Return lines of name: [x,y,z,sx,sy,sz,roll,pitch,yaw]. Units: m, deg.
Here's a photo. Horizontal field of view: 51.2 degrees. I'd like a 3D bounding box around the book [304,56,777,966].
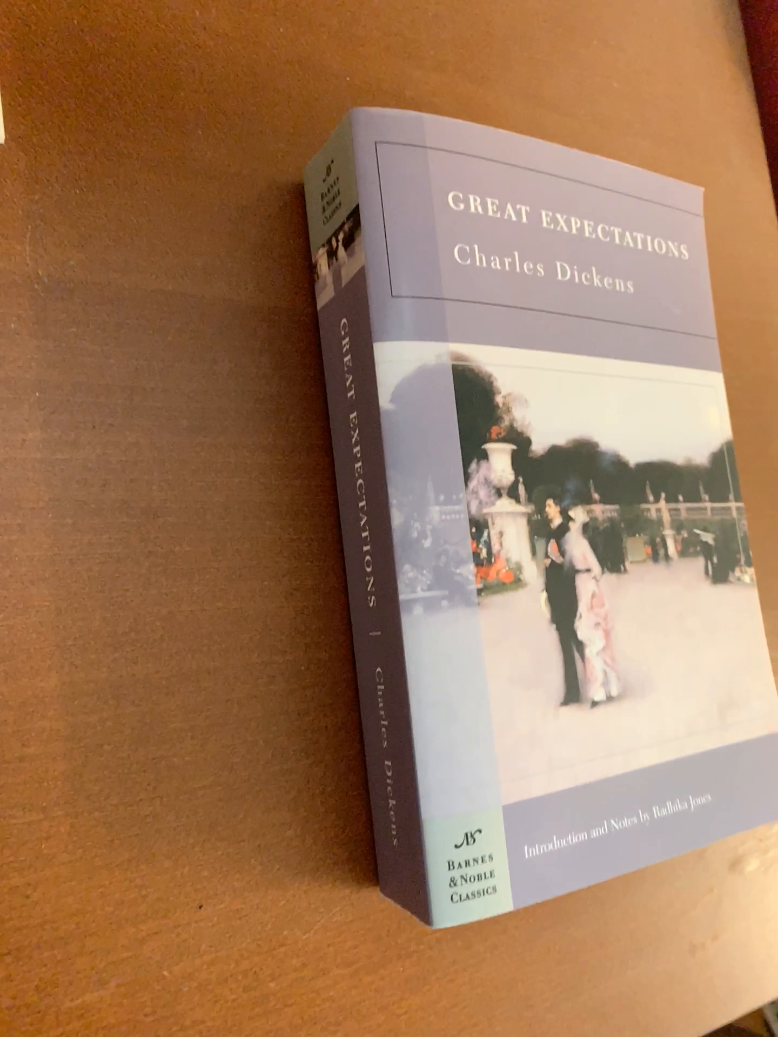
book: [0.057,-0.007,0.231,0.141,0.040,0.200,-2,84,-32]
